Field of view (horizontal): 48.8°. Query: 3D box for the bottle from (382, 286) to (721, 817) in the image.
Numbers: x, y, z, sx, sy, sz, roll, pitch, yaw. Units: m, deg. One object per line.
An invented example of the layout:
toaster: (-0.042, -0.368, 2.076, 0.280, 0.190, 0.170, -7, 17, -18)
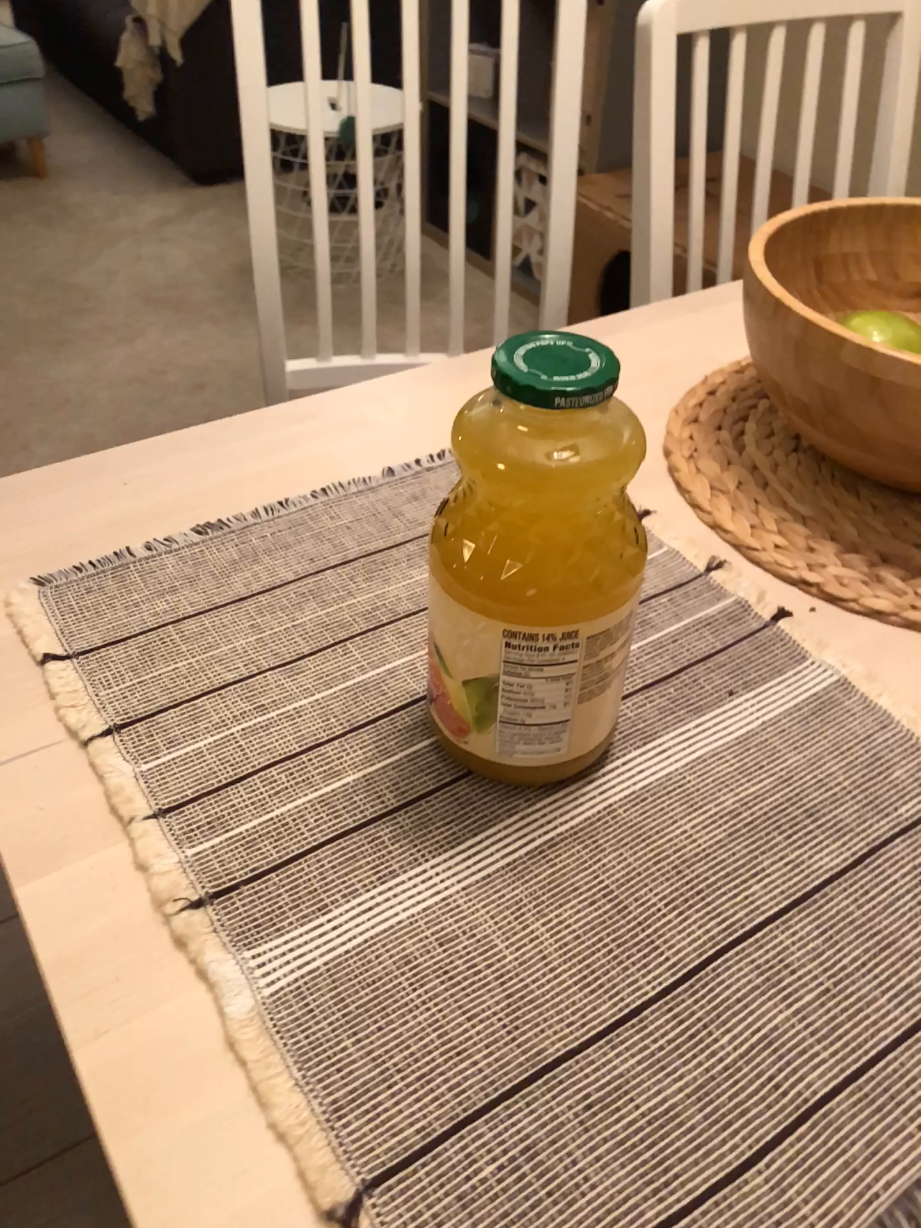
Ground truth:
bottle: (0.034, -0.024, 0.446, 0.100, 0.189, 0.101, 2, 40, -2)
